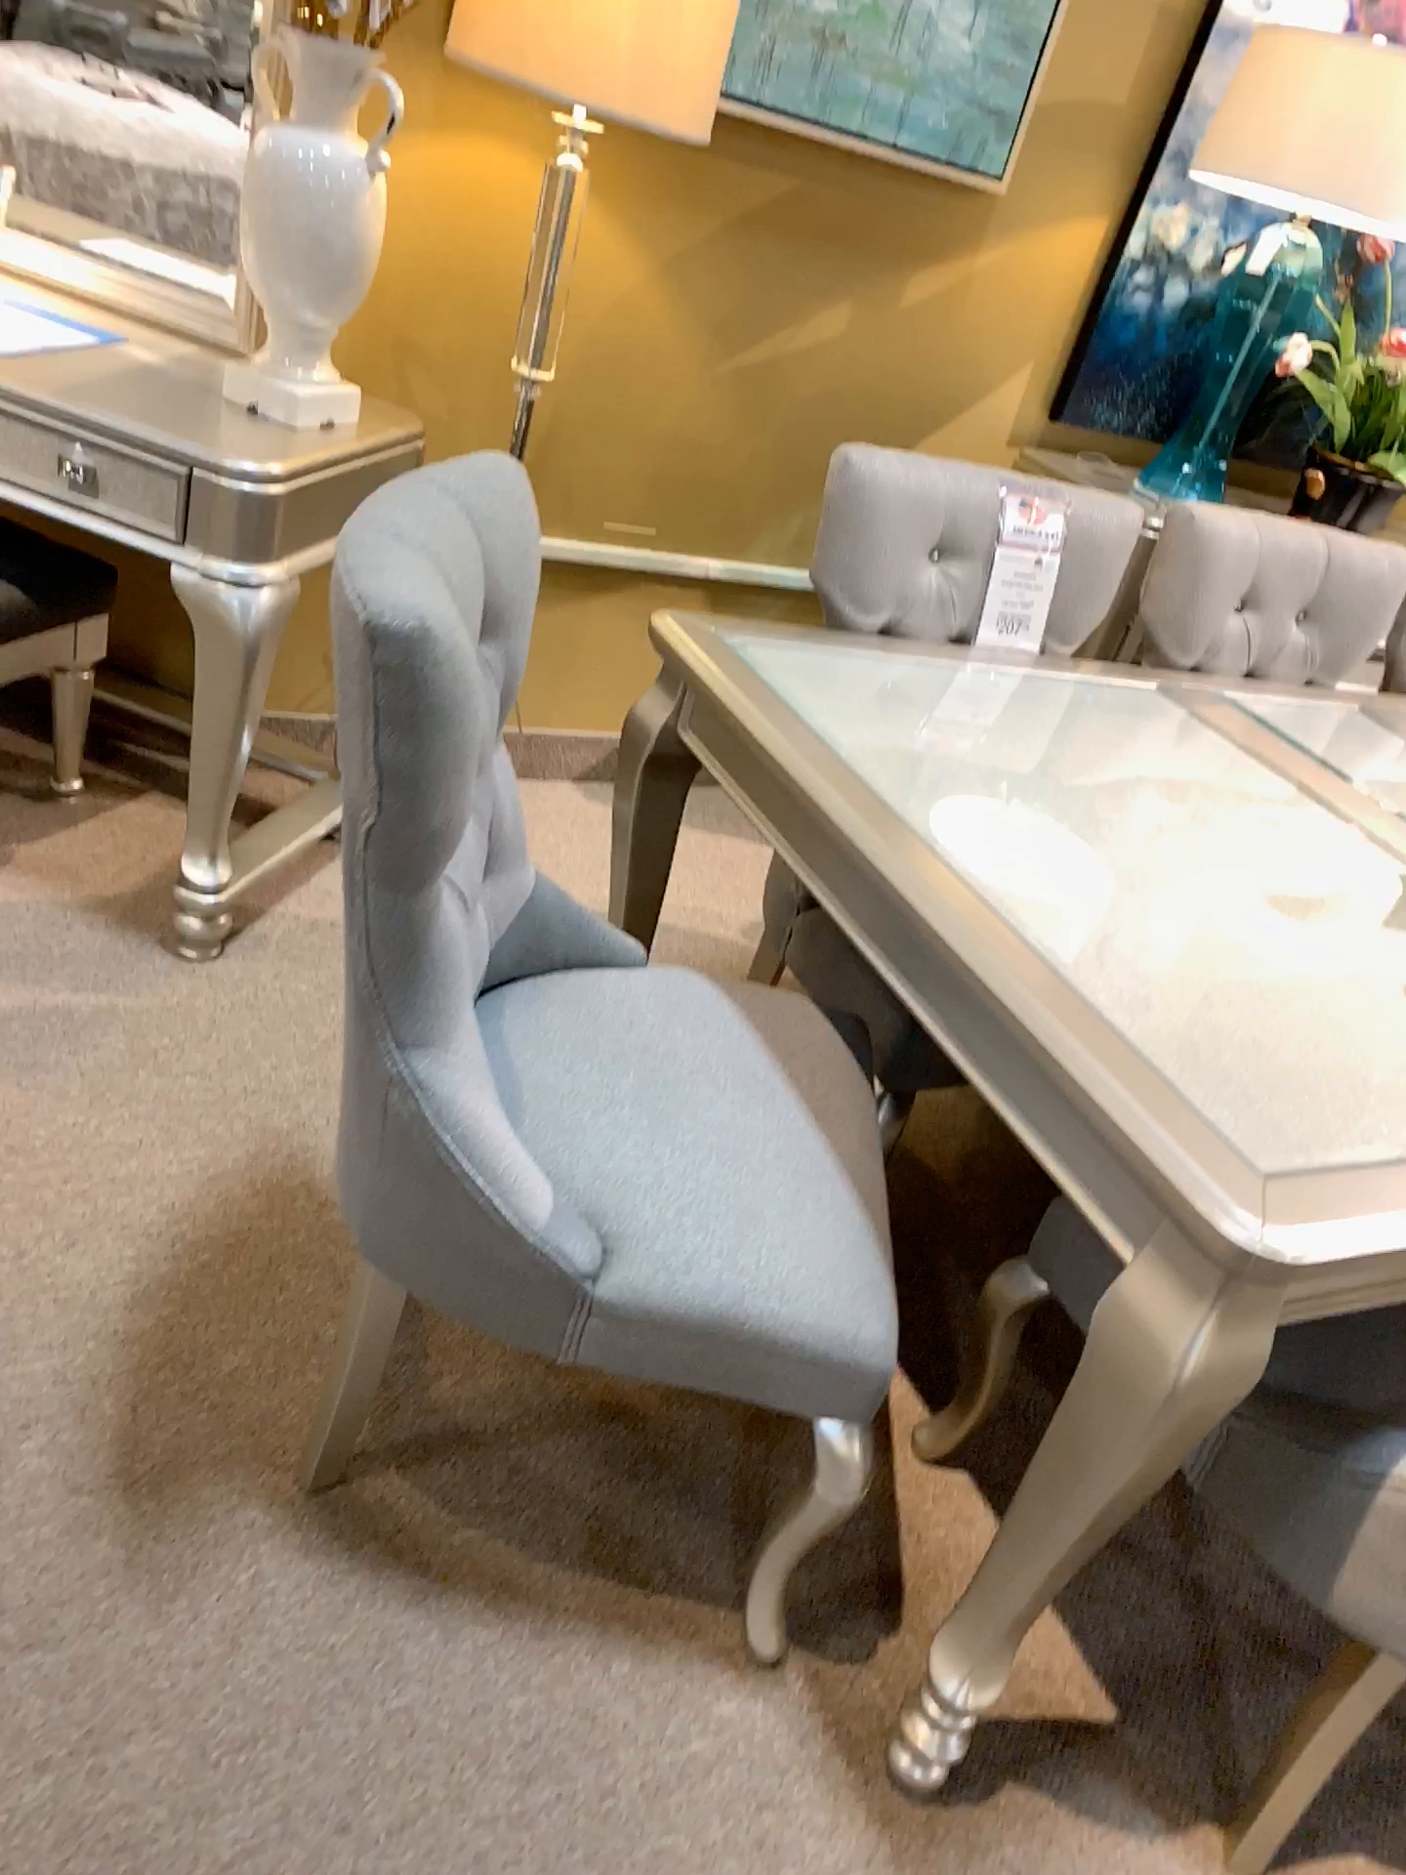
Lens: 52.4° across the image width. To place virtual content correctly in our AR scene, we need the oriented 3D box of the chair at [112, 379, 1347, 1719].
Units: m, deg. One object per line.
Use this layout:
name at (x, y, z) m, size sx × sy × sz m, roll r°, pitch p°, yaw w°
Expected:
chair at (-0.054, 0.107, 1.295) m, size 0.680 × 0.915 × 0.583 m, roll 14°, pitch 30°, yaw -6°
